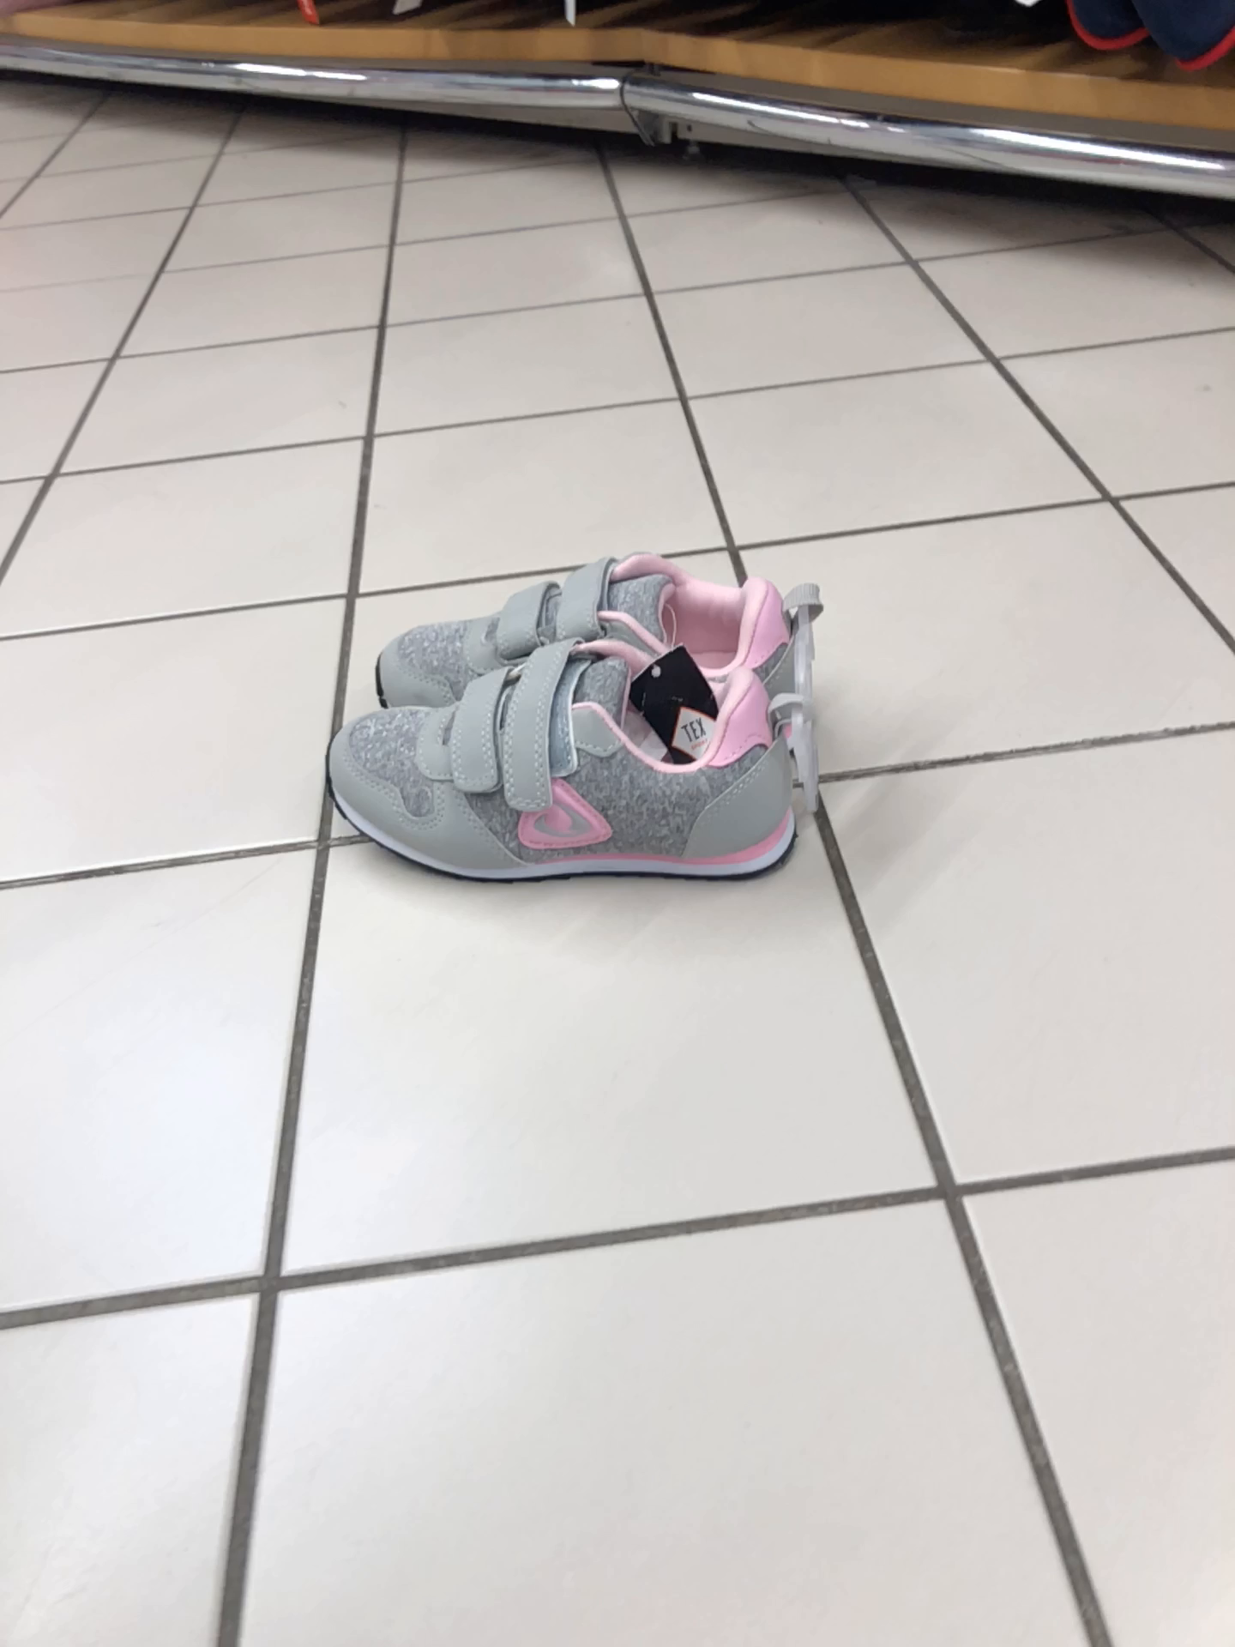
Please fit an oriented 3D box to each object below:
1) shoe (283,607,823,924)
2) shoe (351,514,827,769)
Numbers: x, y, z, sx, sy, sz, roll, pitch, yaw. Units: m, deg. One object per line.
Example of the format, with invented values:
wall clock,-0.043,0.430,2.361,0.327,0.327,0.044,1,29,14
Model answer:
shoe,-0.017,-0.024,0.509,0.180,0.080,0.081,3,40,12
shoe,-0.005,-0.075,0.559,0.180,0.070,0.081,0,39,9
